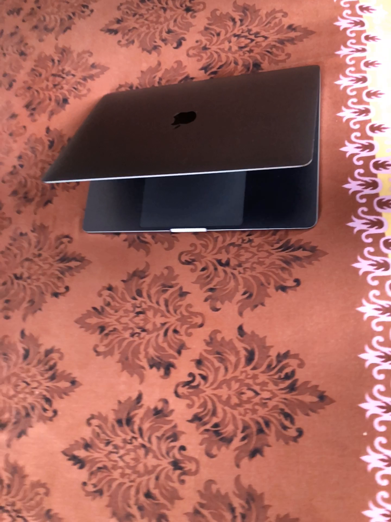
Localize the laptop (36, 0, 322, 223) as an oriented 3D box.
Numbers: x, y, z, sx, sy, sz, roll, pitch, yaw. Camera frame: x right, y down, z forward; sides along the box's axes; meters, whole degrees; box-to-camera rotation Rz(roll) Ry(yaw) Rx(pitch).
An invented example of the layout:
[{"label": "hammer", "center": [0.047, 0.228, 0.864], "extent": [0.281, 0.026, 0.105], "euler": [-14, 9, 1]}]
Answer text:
[{"label": "laptop", "center": [-0.011, -0.156, 0.490], "extent": [0.286, 0.093, 0.204], "euler": [1, 73, 20]}]
